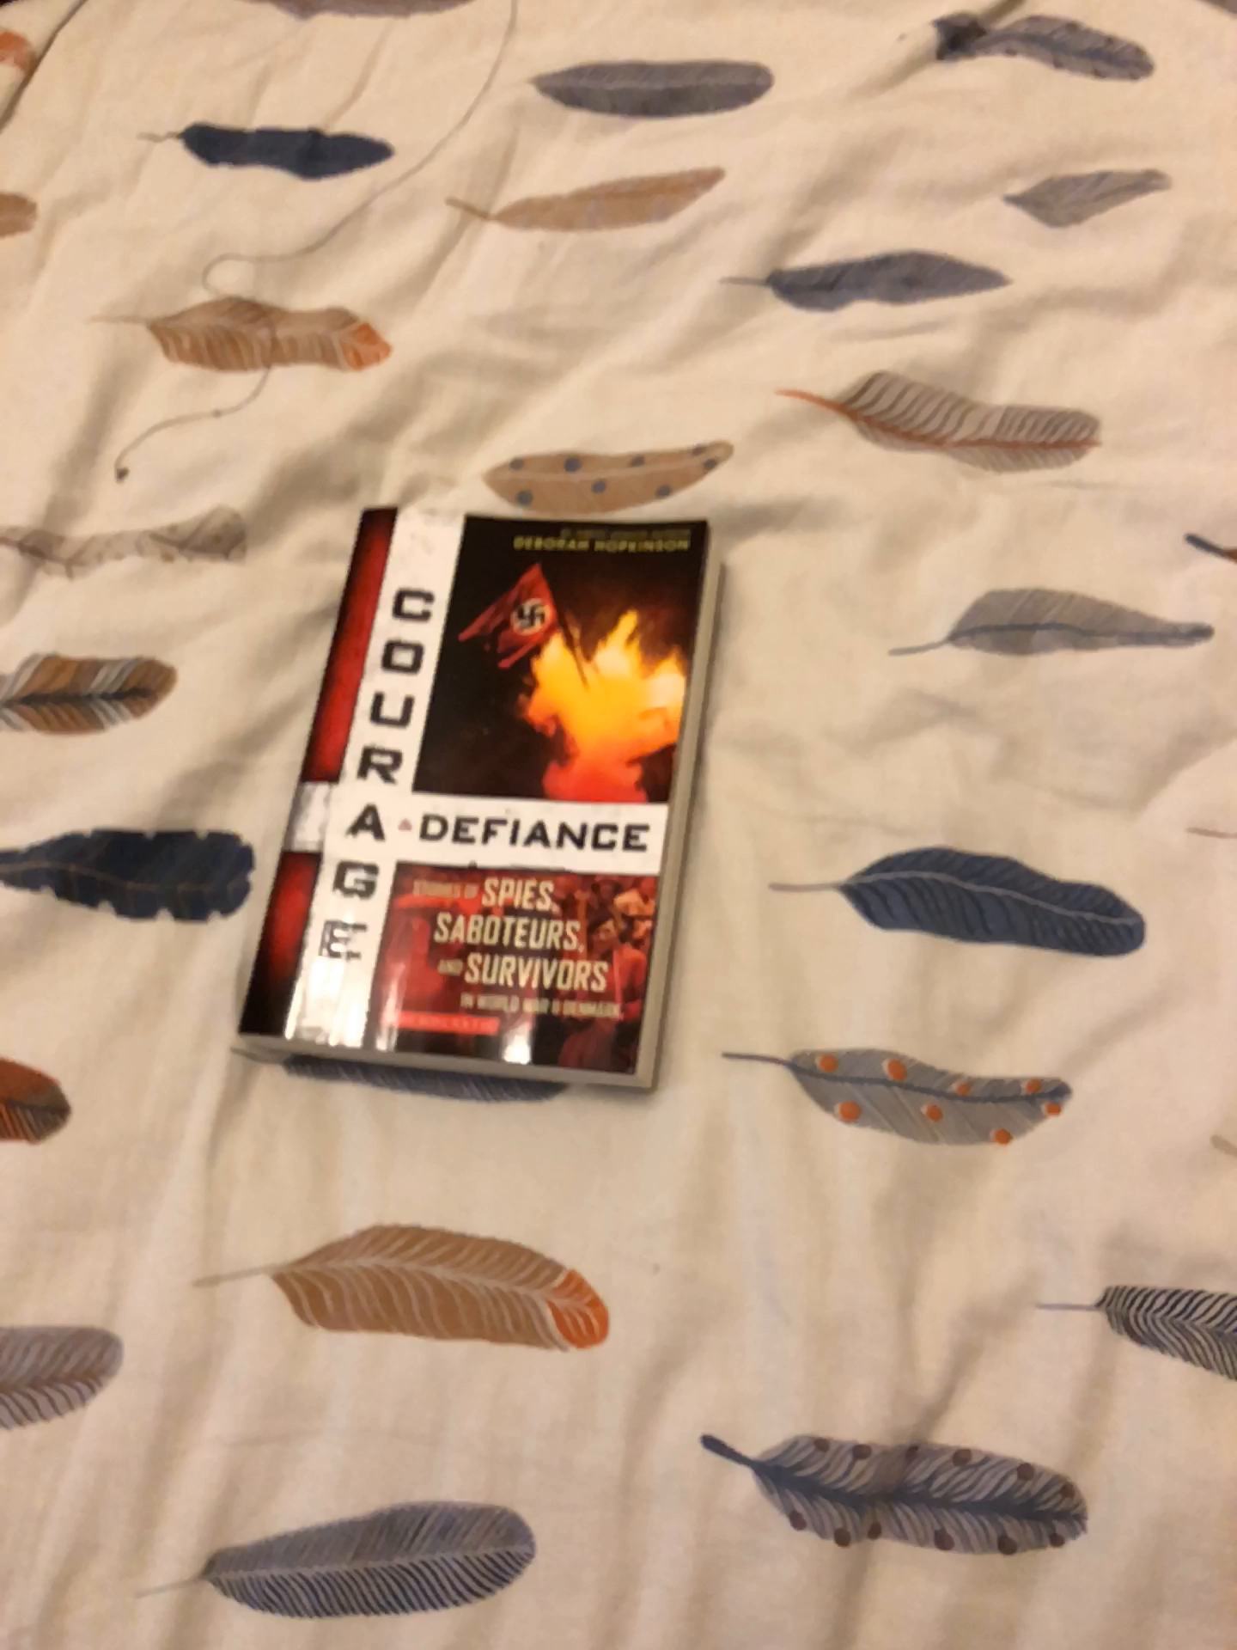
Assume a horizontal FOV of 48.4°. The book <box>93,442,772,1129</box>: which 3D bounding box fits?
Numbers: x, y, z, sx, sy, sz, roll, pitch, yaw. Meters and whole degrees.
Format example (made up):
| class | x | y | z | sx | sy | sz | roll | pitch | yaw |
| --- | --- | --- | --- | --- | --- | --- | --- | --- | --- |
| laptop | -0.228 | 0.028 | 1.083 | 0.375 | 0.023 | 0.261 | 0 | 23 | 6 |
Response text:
| class | x | y | z | sx | sy | sz | roll | pitch | yaw |
| --- | --- | --- | --- | --- | --- | --- | --- | --- | --- |
| book | -0.055 | -0.022 | 0.475 | 0.200 | 0.020 | 0.231 | 5 | 71 | 3 |
